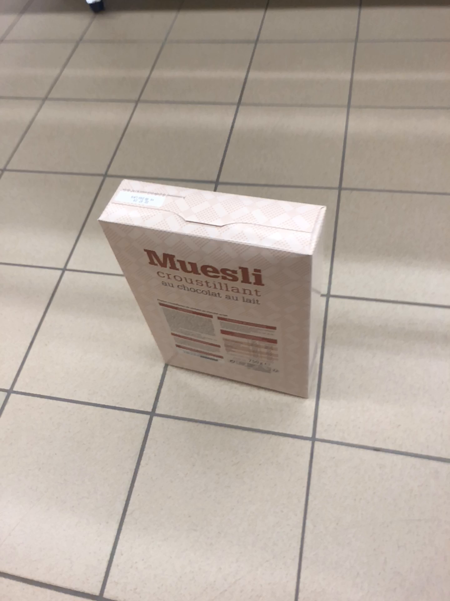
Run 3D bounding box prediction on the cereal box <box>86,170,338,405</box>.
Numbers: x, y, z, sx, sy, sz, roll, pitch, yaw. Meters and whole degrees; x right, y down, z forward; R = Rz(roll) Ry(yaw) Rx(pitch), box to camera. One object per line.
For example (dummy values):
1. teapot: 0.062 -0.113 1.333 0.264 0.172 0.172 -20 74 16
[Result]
1. cereal box: 0.002 0.002 0.515 0.200 0.269 0.060 11 57 15
